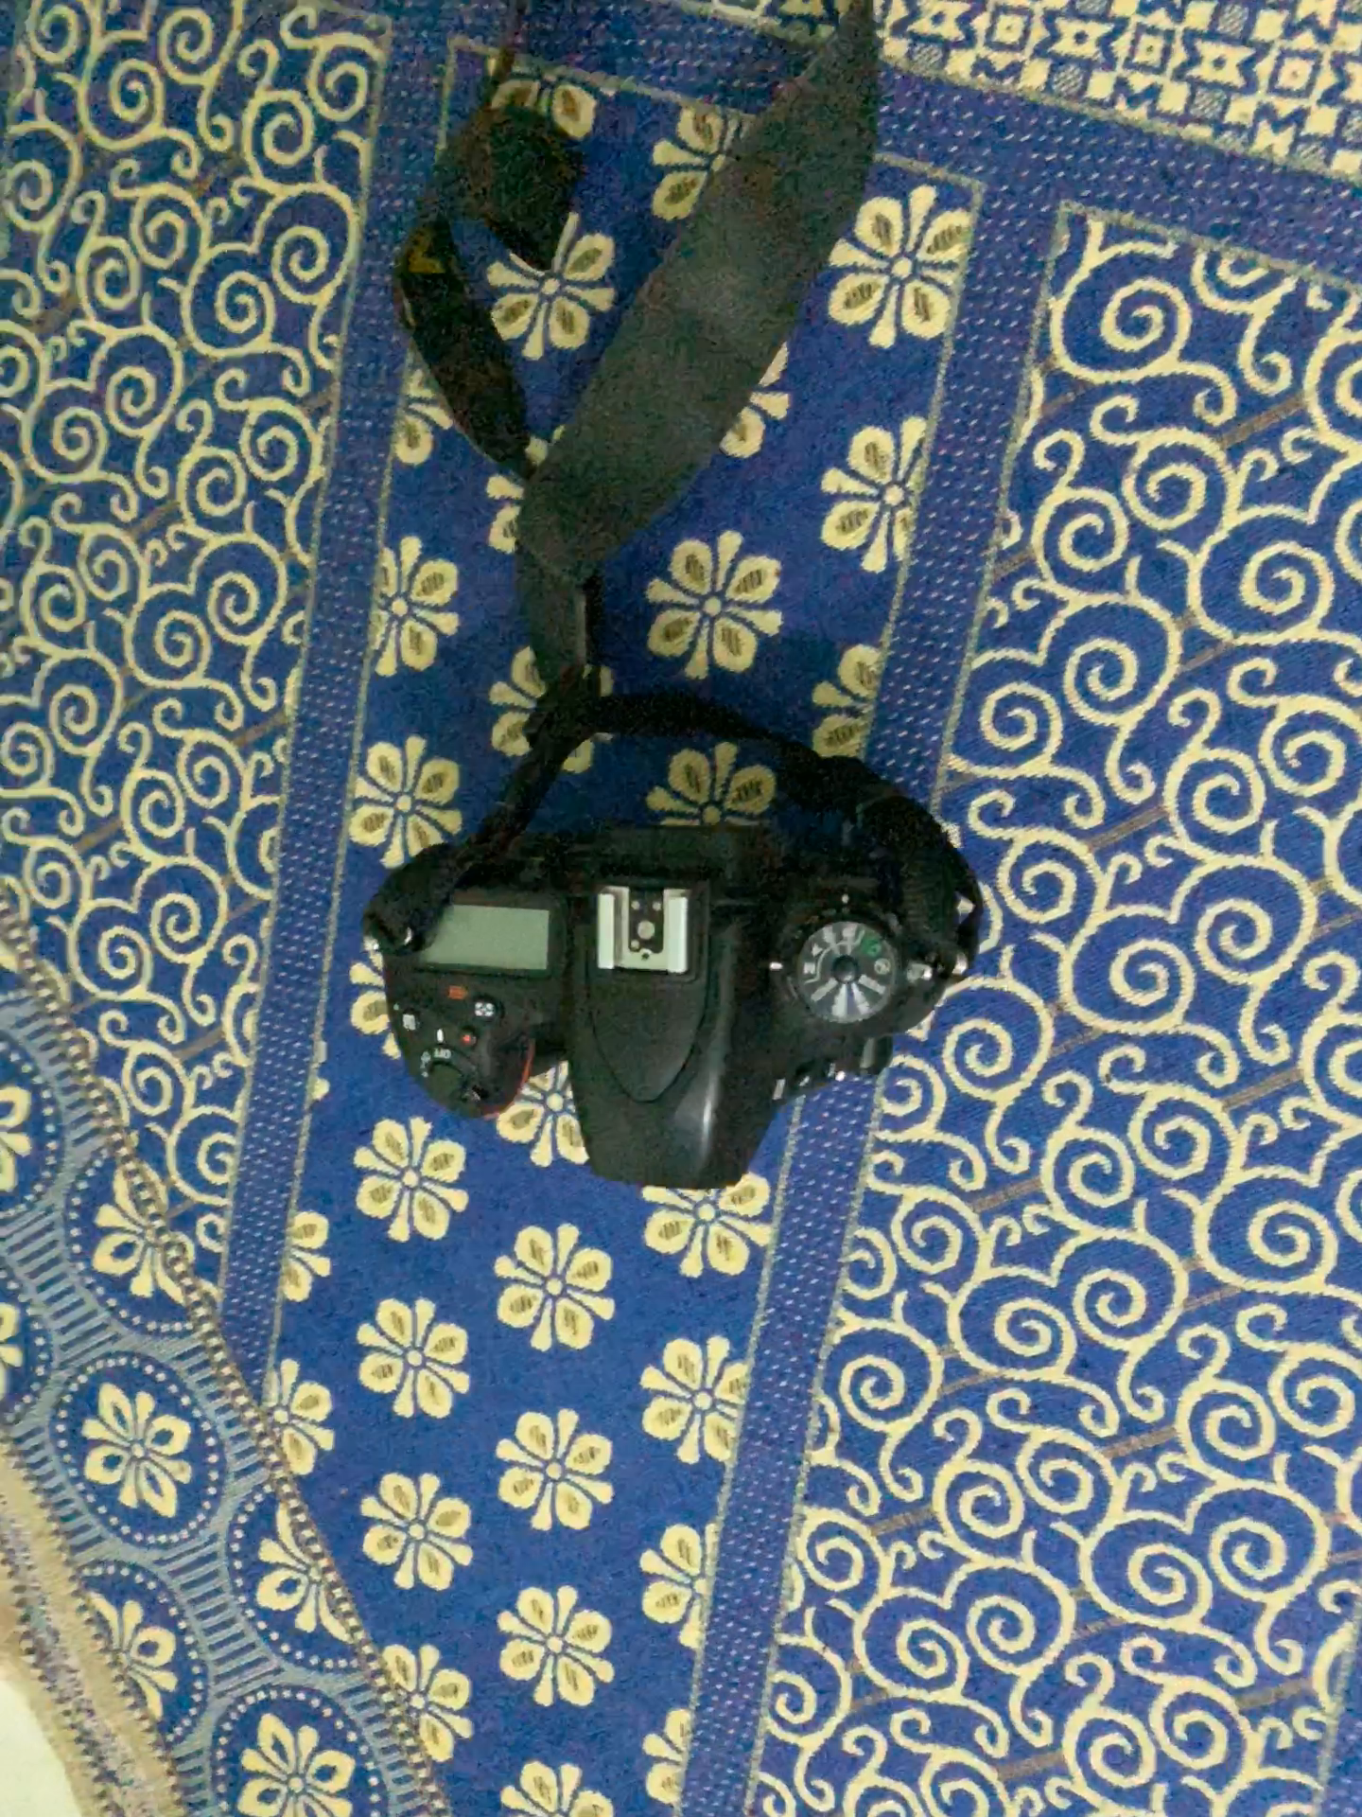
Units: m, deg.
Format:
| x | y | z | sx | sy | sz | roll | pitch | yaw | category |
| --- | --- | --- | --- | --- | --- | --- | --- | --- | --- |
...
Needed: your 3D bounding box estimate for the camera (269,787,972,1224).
| x | y | z | sx | sy | sz | roll | pitch | yaw | category |
| --- | --- | --- | --- | --- | --- | --- | --- | --- | --- |
| -0.009 | 0.017 | 0.348 | 0.150 | 0.090 | 0.088 | 0 | 96 | 18 | camera |
